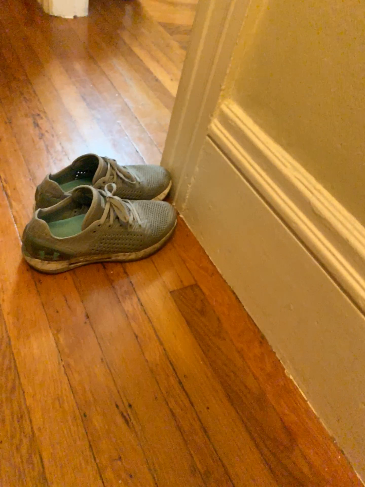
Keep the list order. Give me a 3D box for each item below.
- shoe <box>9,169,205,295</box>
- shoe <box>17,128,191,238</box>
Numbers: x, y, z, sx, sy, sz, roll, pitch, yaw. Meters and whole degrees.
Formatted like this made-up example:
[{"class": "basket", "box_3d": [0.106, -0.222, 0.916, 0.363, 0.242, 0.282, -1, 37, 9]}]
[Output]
[{"class": "shoe", "box_3d": [-0.114, -0.030, 0.600, 0.270, 0.090, 0.110, -17, 55, -31]}, {"class": "shoe", "box_3d": [-0.127, -0.114, 0.646, 0.261, 0.080, 0.110, -22, 58, -33]}]
